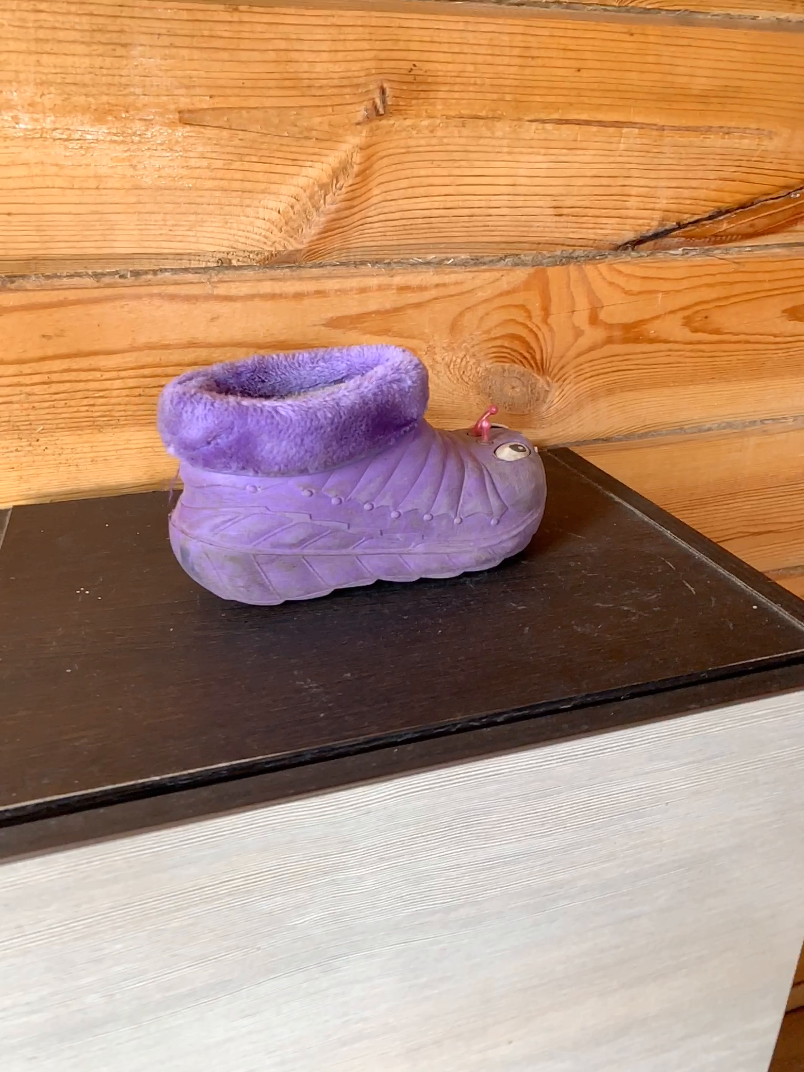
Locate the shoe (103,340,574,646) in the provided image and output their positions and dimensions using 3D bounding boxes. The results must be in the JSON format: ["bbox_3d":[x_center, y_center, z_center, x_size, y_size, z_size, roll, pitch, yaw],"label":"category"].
[{"bbox_3d":[-0.031,-0.031,0.401,0.200,0.099,0.091,-9,24,-19],"label":"shoe"}]
